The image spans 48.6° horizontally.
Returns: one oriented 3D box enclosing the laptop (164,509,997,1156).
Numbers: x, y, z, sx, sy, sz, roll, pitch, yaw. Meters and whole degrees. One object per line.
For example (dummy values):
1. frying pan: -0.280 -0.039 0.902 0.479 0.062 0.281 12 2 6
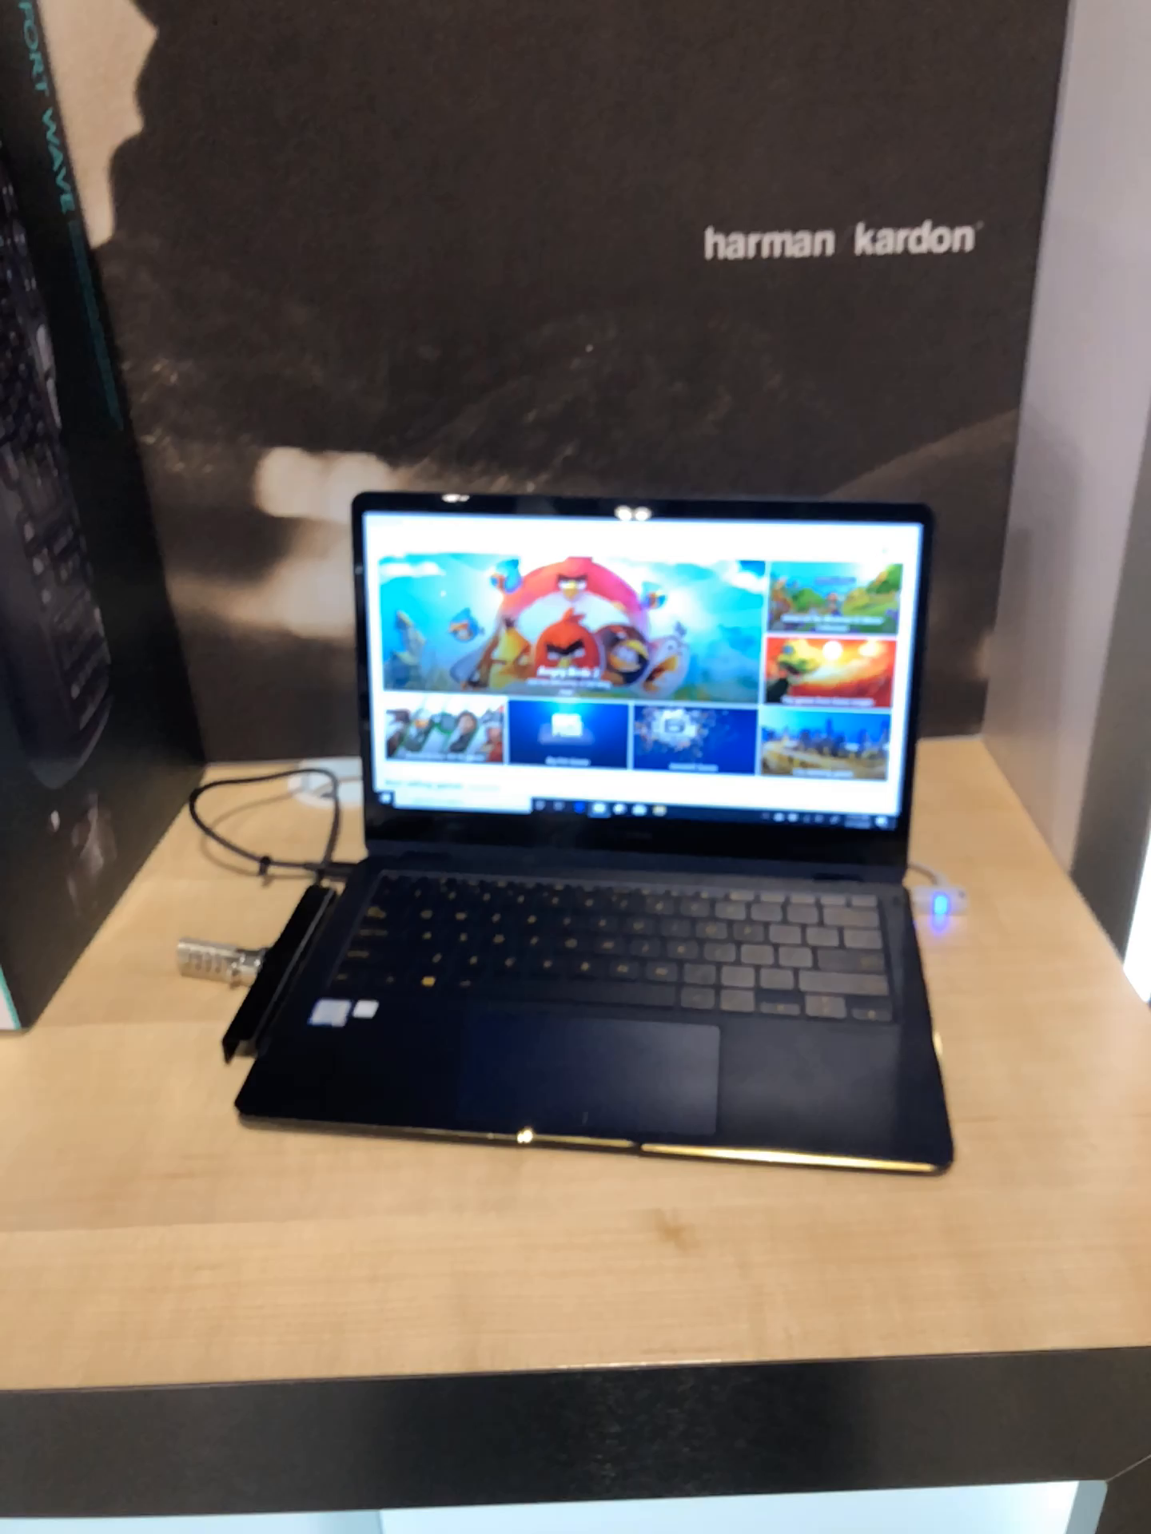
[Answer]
1. laptop: 0.018 0.010 0.596 0.291 0.190 0.249 2 28 8
